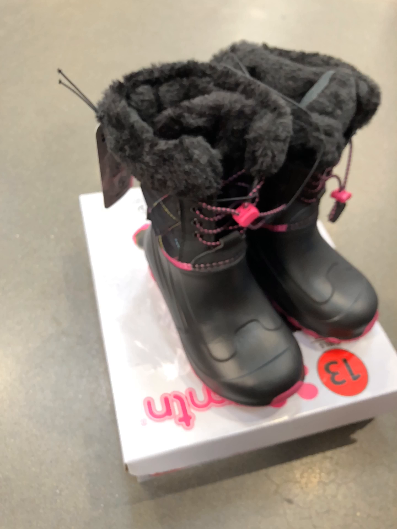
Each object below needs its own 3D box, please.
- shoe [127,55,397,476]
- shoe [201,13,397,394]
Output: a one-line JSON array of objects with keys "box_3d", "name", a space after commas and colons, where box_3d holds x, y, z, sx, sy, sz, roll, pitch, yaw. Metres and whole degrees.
[{"box_3d": [0.050, 0.005, 0.342, 0.110, 0.209, 0.221, -26, 60, -25], "name": "shoe"}, {"box_3d": [0.130, -0.044, 0.393, 0.110, 0.229, 0.220, -35, 64, -29], "name": "shoe"}]
